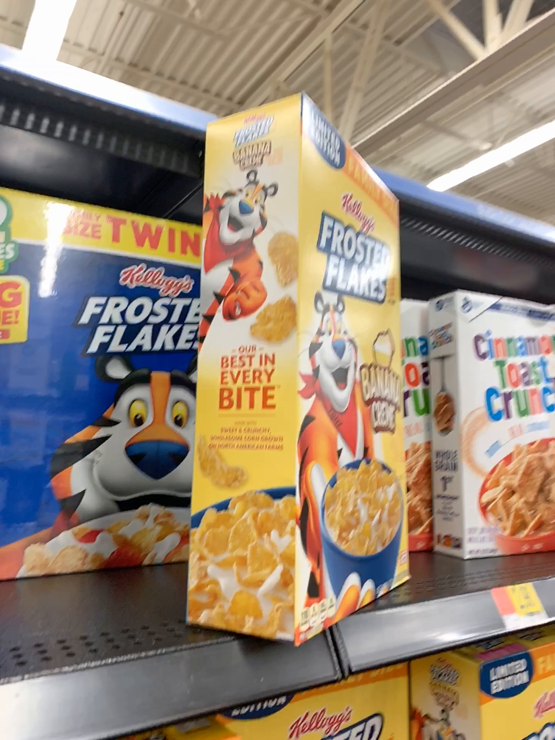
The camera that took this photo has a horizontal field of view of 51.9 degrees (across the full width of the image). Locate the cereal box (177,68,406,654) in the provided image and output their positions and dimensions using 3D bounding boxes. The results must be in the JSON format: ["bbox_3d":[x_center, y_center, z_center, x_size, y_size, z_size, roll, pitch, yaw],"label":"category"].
[{"bbox_3d":[0.027,-0.003,0.433,0.080,0.341,0.200,-3,-9,29],"label":"cereal box"}]
